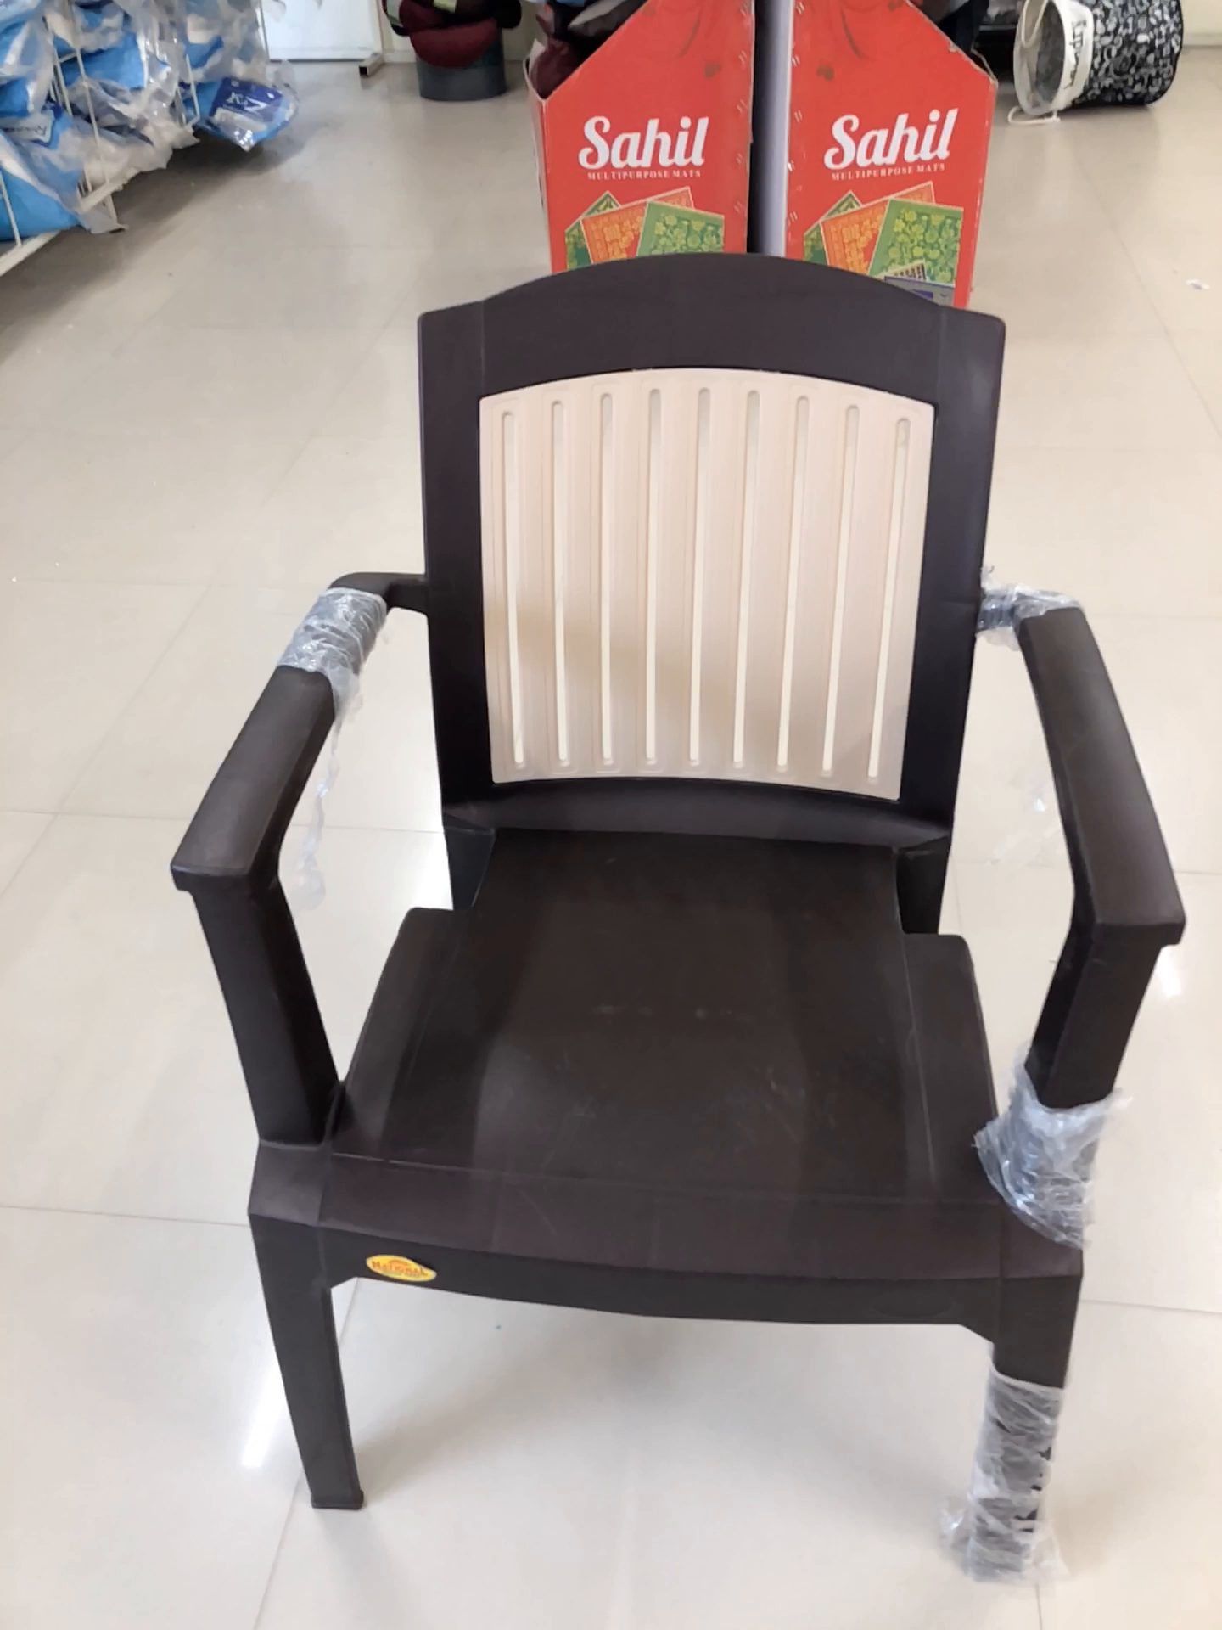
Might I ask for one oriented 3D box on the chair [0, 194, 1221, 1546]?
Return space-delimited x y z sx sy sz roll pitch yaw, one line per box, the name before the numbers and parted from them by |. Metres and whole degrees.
chair | 0.045 -0.003 0.857 0.600 0.556 0.654 0 39 3
